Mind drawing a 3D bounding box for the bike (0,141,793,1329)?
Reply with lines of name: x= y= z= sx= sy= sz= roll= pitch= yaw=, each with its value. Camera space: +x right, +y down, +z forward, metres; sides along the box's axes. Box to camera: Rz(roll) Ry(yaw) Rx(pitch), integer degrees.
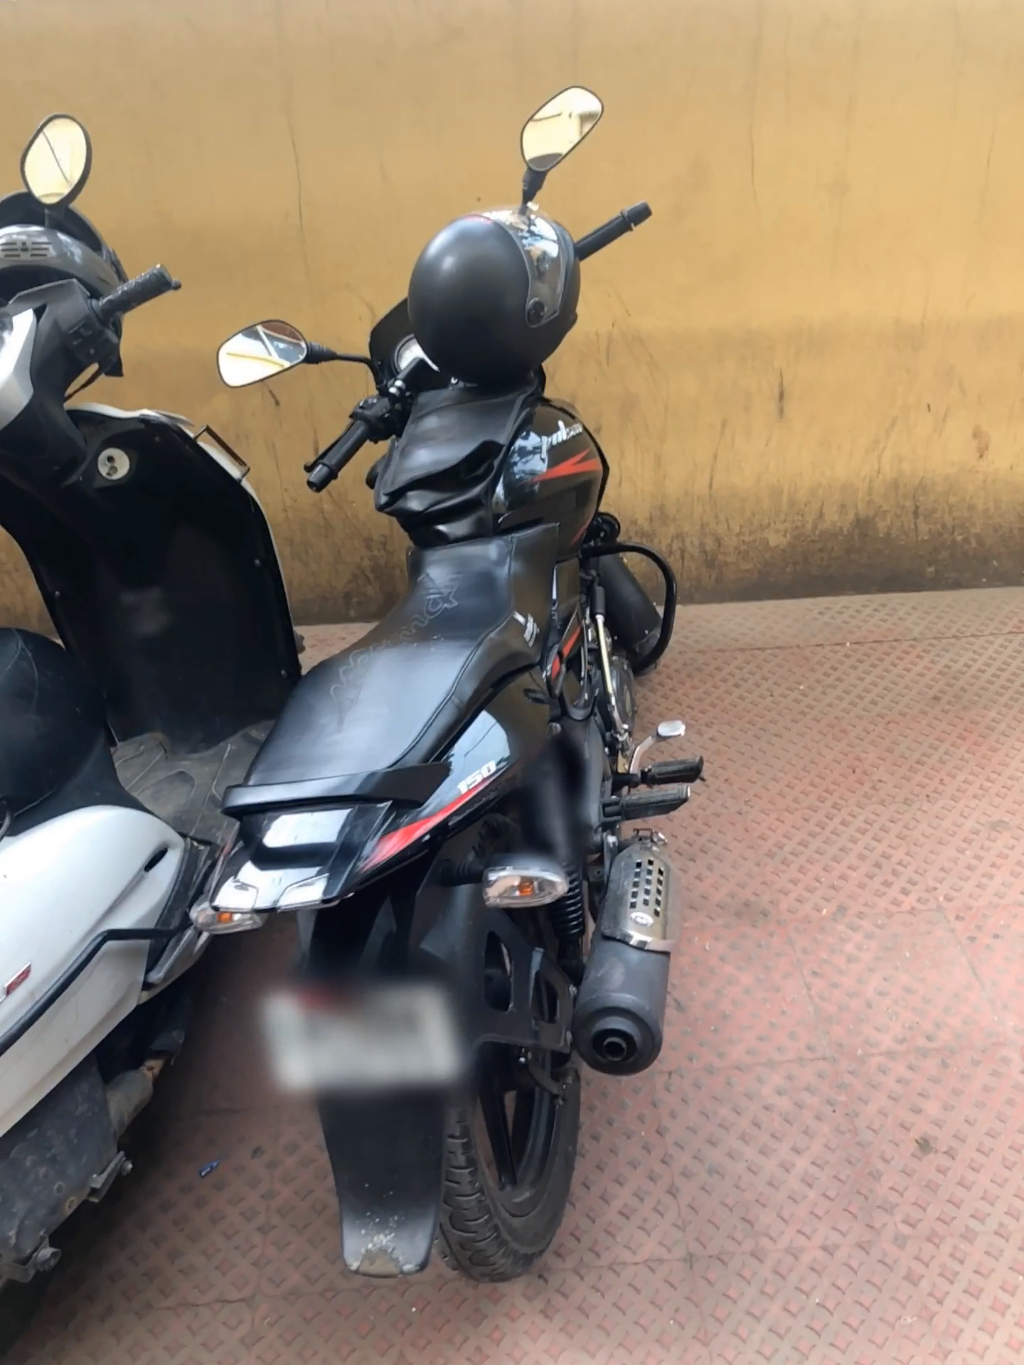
bike: x=-0.213 y=-0.109 z=1.794 sx=0.826 sy=1.056 sz=1.613 roll=-2 pitch=36 yaw=1
